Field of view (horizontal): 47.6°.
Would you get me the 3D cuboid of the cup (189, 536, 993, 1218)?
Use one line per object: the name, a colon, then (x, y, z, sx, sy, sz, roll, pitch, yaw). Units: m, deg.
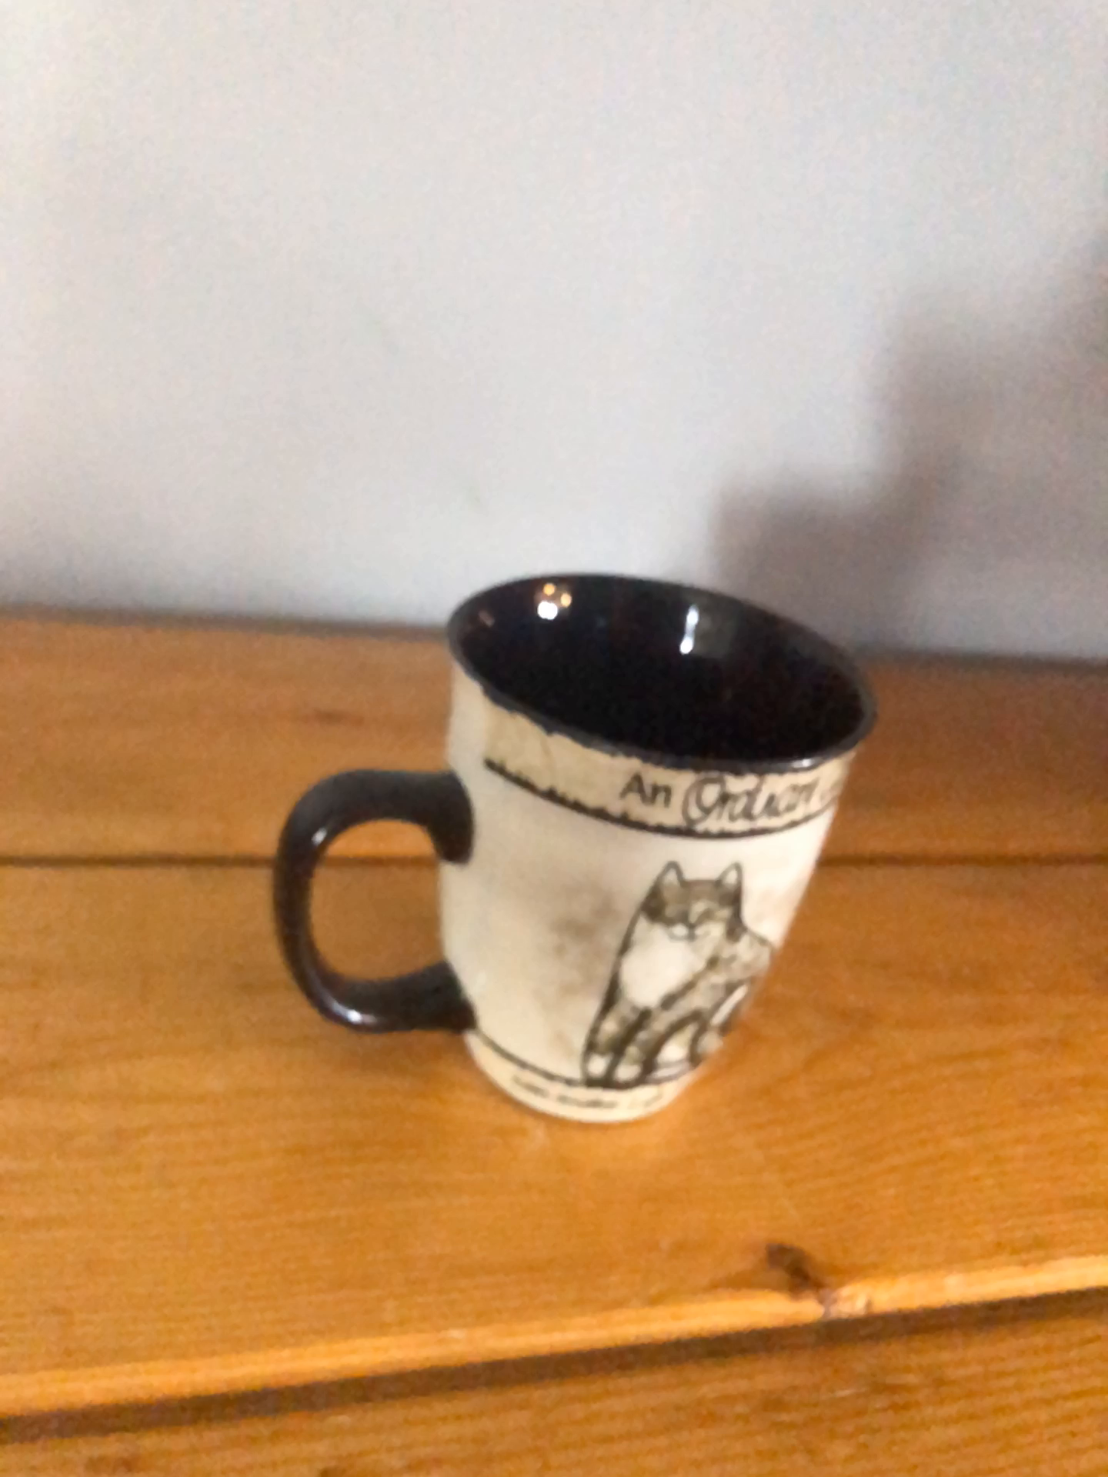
cup: (-0.003, 0.022, 0.286, 0.140, 0.100, 0.100, -2, 33, -23)
